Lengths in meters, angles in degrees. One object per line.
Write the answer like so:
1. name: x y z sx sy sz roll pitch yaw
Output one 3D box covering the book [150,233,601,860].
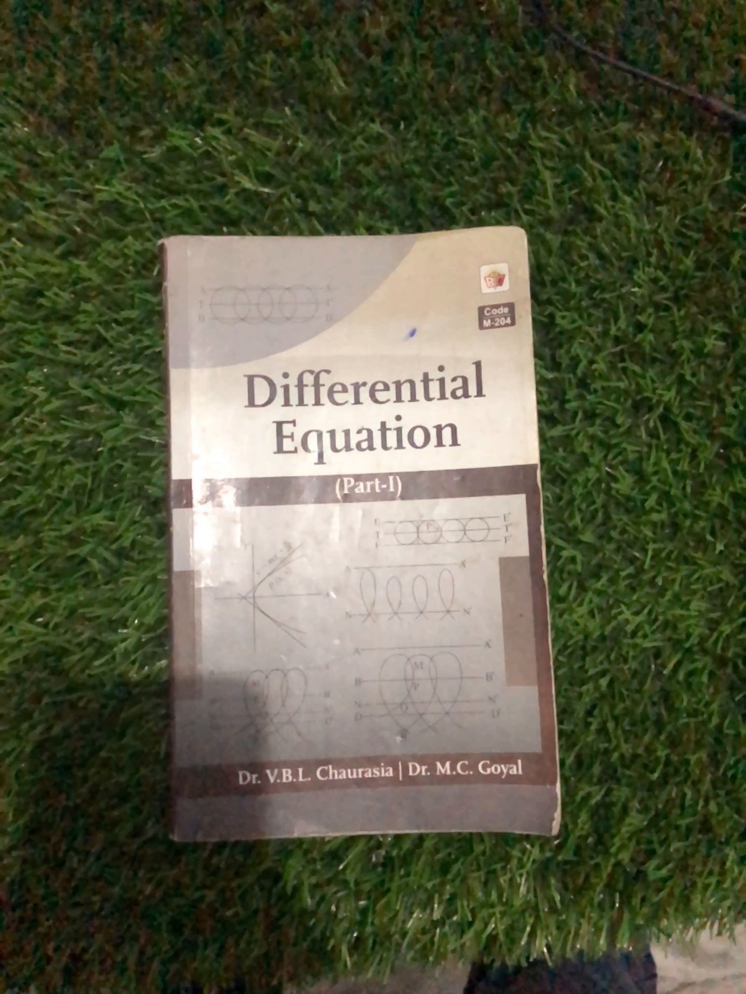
1. book: -0.002 0.012 0.287 0.140 0.030 0.200 -2 83 -4
